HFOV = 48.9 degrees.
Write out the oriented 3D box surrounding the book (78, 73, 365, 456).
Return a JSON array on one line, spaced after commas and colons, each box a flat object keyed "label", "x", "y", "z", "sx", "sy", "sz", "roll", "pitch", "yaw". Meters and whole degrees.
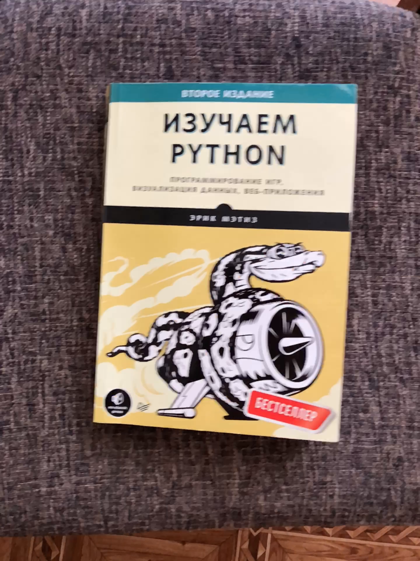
[{"label": "book", "x": 0.008, "y": -0.015, "z": 0.311, "sx": 0.167, "sy": 0.040, "sz": 0.233, "roll": 3, "pitch": 87, "yaw": 6}]
